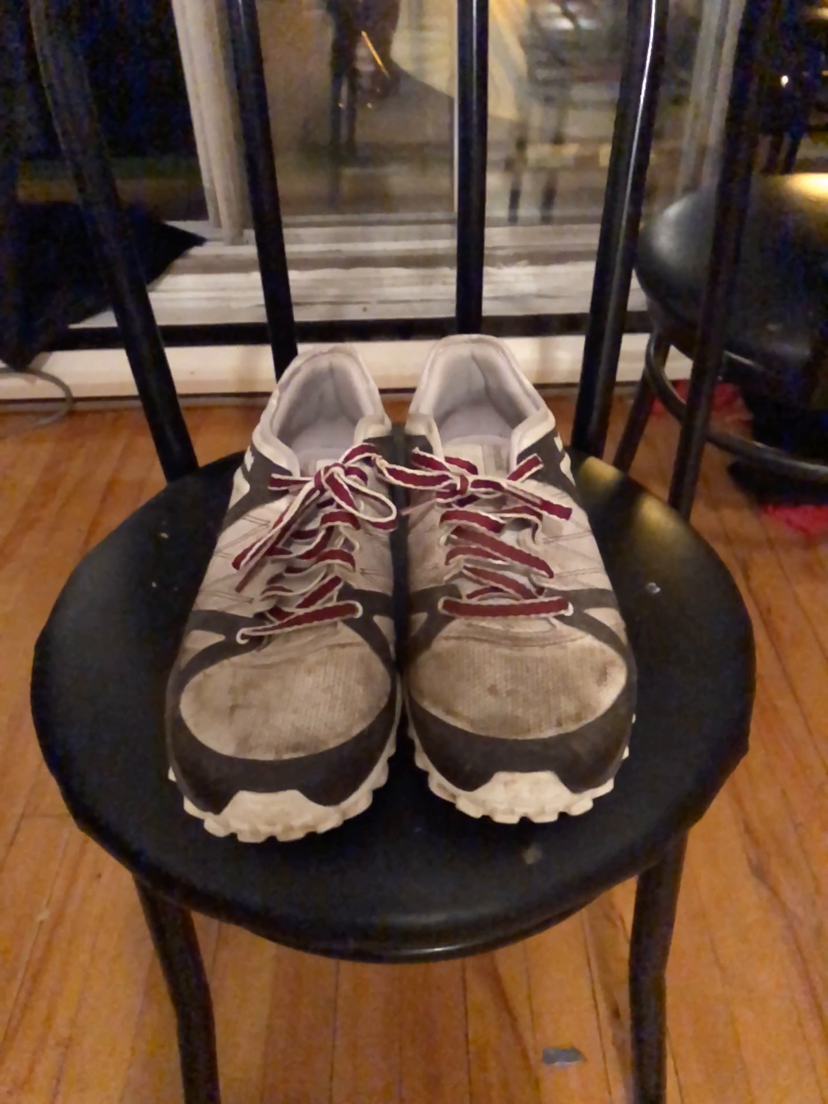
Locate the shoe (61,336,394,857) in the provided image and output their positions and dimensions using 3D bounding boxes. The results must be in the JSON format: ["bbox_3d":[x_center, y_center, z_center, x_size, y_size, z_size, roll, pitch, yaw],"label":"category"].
[{"bbox_3d":[-0.066,0.000,0.443,0.110,0.089,0.272,-2,40,0],"label":"shoe"}]

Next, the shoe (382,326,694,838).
[{"bbox_3d":[0.042,-0.007,0.460,0.110,0.089,0.282,-2,40,0],"label":"shoe"}]
